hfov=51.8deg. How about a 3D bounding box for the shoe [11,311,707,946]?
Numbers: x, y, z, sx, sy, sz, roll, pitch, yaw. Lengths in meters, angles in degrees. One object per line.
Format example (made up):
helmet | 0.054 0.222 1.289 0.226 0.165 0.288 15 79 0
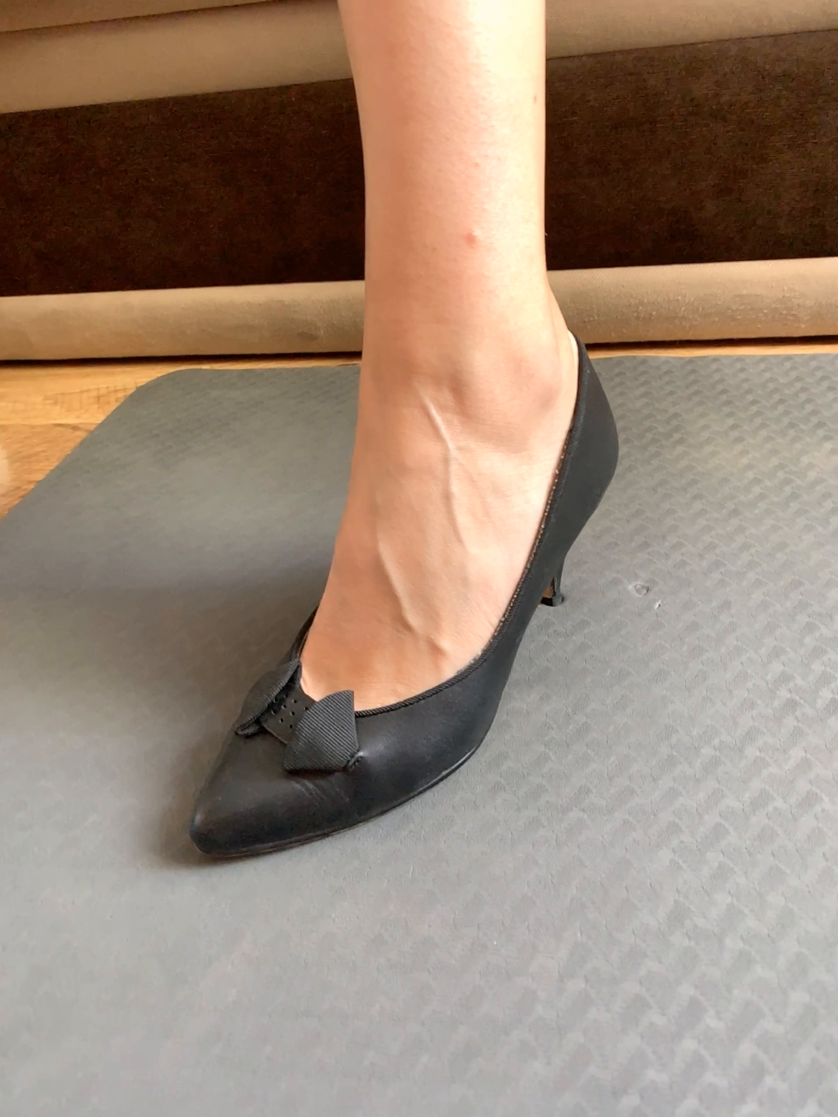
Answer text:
shoe | -0.001 0.003 0.314 0.230 0.099 0.090 -34 43 -32
